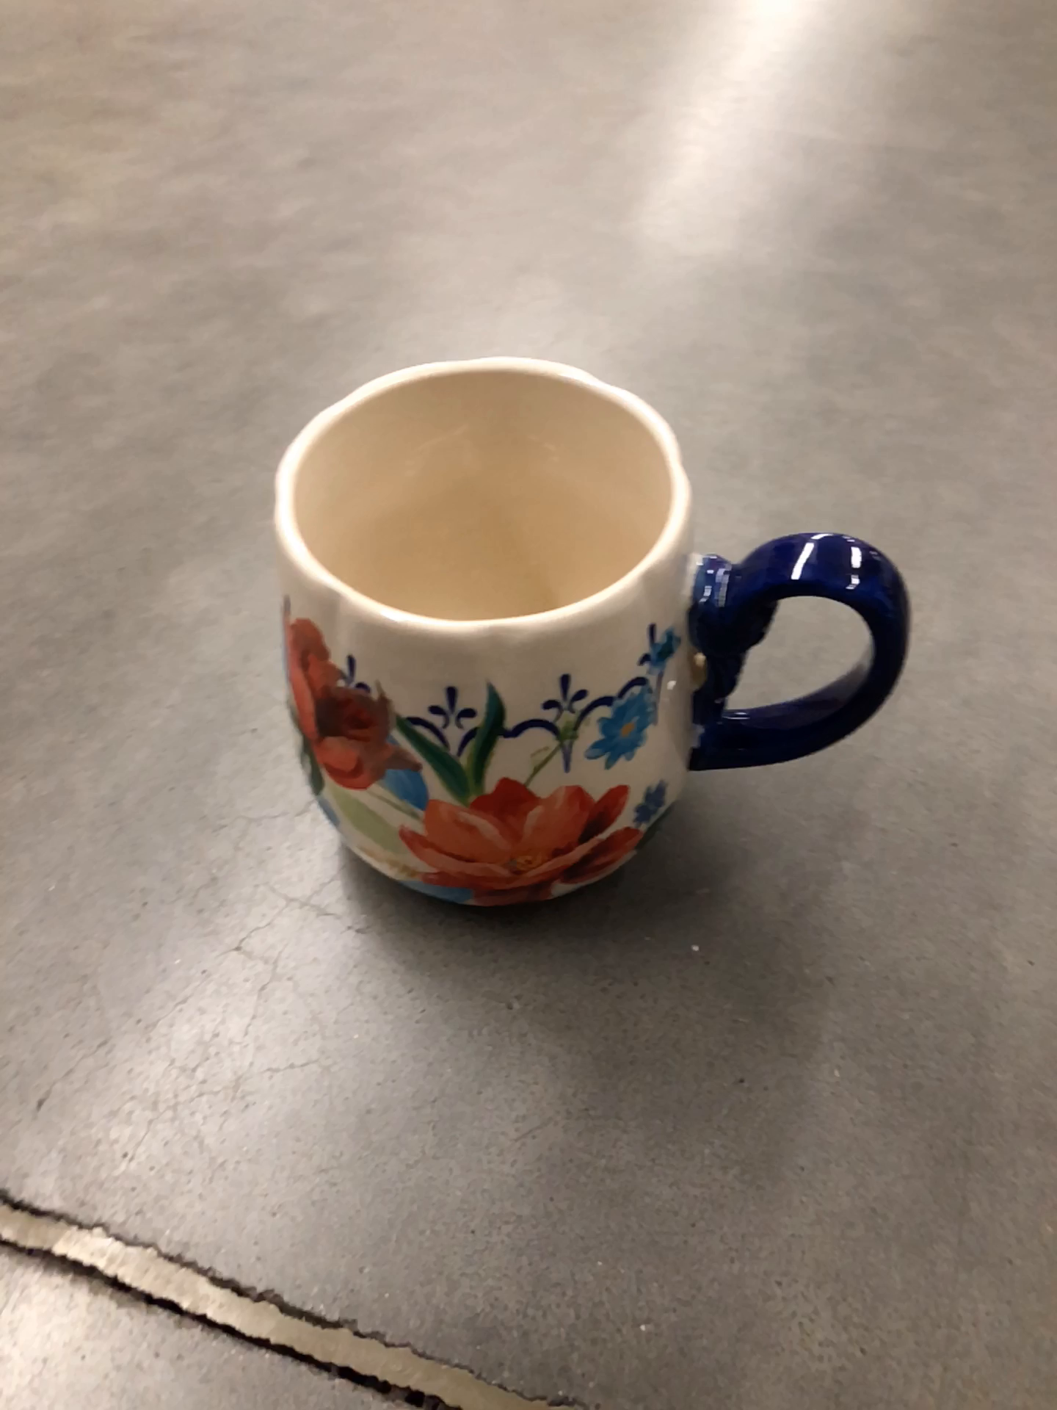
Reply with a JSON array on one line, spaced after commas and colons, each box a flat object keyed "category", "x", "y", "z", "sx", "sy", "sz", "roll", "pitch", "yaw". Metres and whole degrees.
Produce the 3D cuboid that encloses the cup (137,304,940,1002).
[{"category": "cup", "x": 0.010, "y": -0.013, "z": 0.271, "sx": 0.140, "sy": 0.099, "sz": 0.101, "roll": 10, "pitch": 53, "yaw": 10}]
